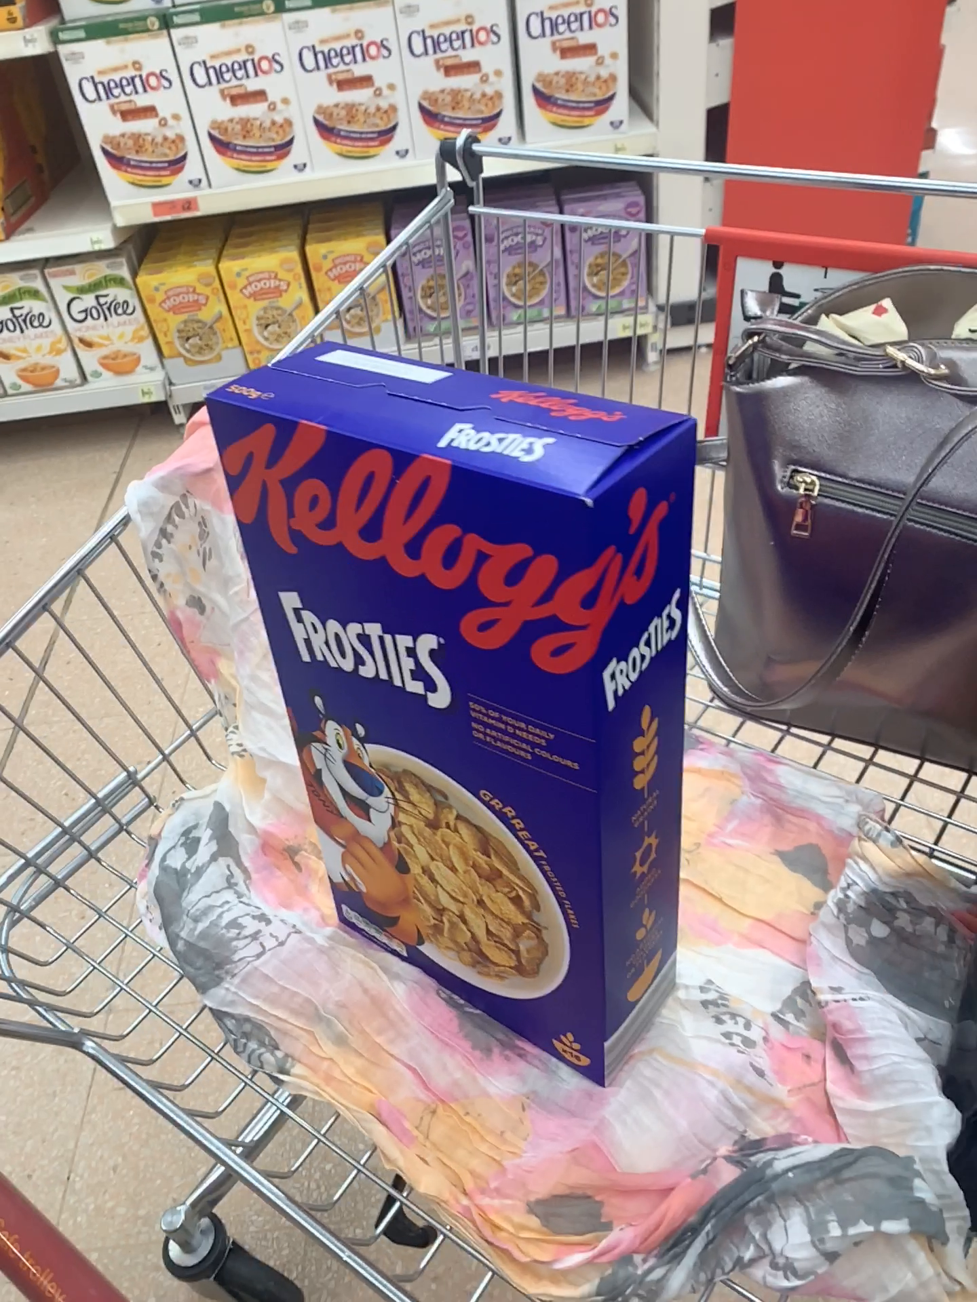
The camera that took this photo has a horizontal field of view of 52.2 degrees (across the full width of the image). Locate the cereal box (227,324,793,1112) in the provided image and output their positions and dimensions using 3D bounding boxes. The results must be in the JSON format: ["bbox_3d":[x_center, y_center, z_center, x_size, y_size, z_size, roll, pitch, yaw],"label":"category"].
[{"bbox_3d":[0.007,0.040,0.481,0.211,0.337,0.080,22,42,30],"label":"cereal box"}]
